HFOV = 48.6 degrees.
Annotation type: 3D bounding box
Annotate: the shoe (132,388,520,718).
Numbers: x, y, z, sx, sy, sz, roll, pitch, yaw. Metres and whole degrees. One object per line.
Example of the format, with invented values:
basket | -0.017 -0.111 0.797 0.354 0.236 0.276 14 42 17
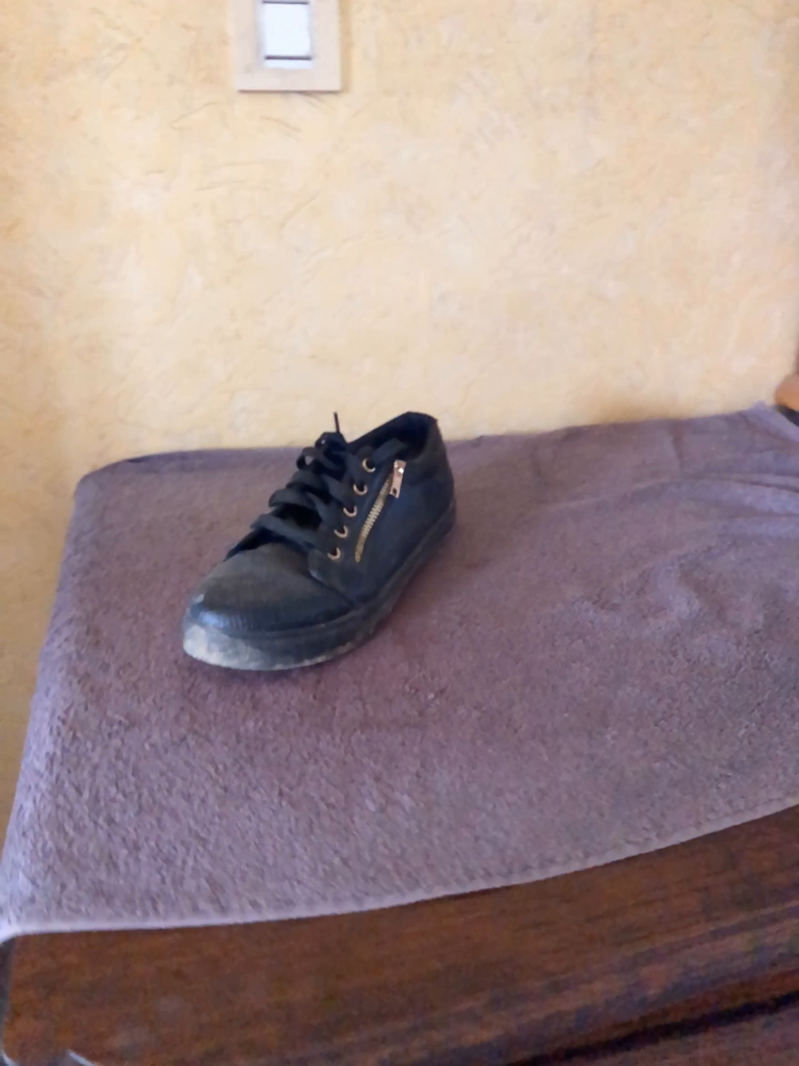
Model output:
shoe | -0.028 -0.008 0.566 0.100 0.089 0.272 15 30 28
